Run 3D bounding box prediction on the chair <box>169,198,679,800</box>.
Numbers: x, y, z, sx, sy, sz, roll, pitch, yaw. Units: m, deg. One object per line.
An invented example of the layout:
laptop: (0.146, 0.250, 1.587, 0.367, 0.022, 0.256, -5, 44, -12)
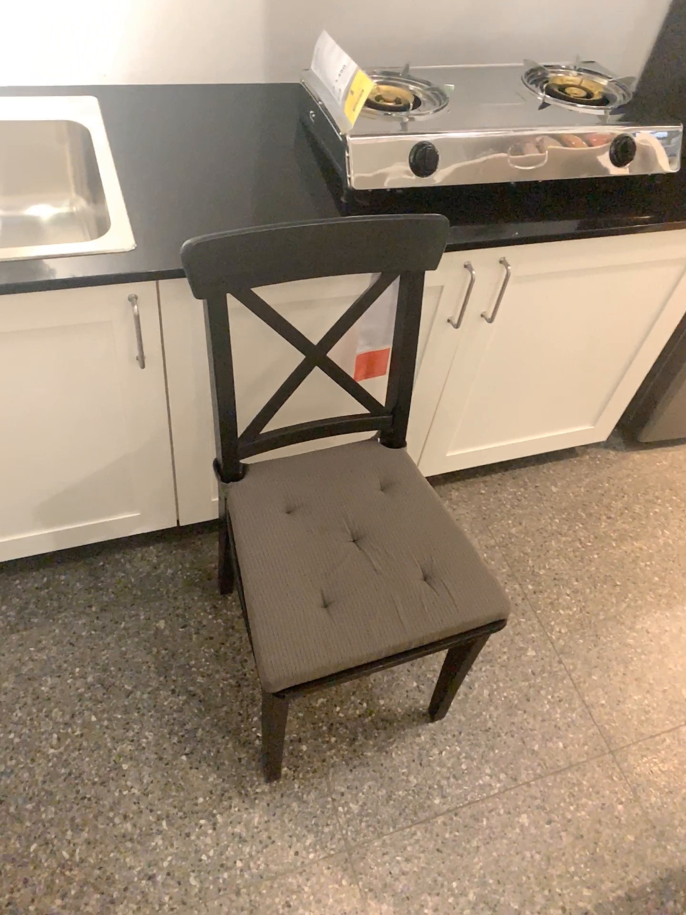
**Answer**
chair: (0.017, 0.104, 1.095, 0.420, 0.787, 0.491, -13, 53, -19)
